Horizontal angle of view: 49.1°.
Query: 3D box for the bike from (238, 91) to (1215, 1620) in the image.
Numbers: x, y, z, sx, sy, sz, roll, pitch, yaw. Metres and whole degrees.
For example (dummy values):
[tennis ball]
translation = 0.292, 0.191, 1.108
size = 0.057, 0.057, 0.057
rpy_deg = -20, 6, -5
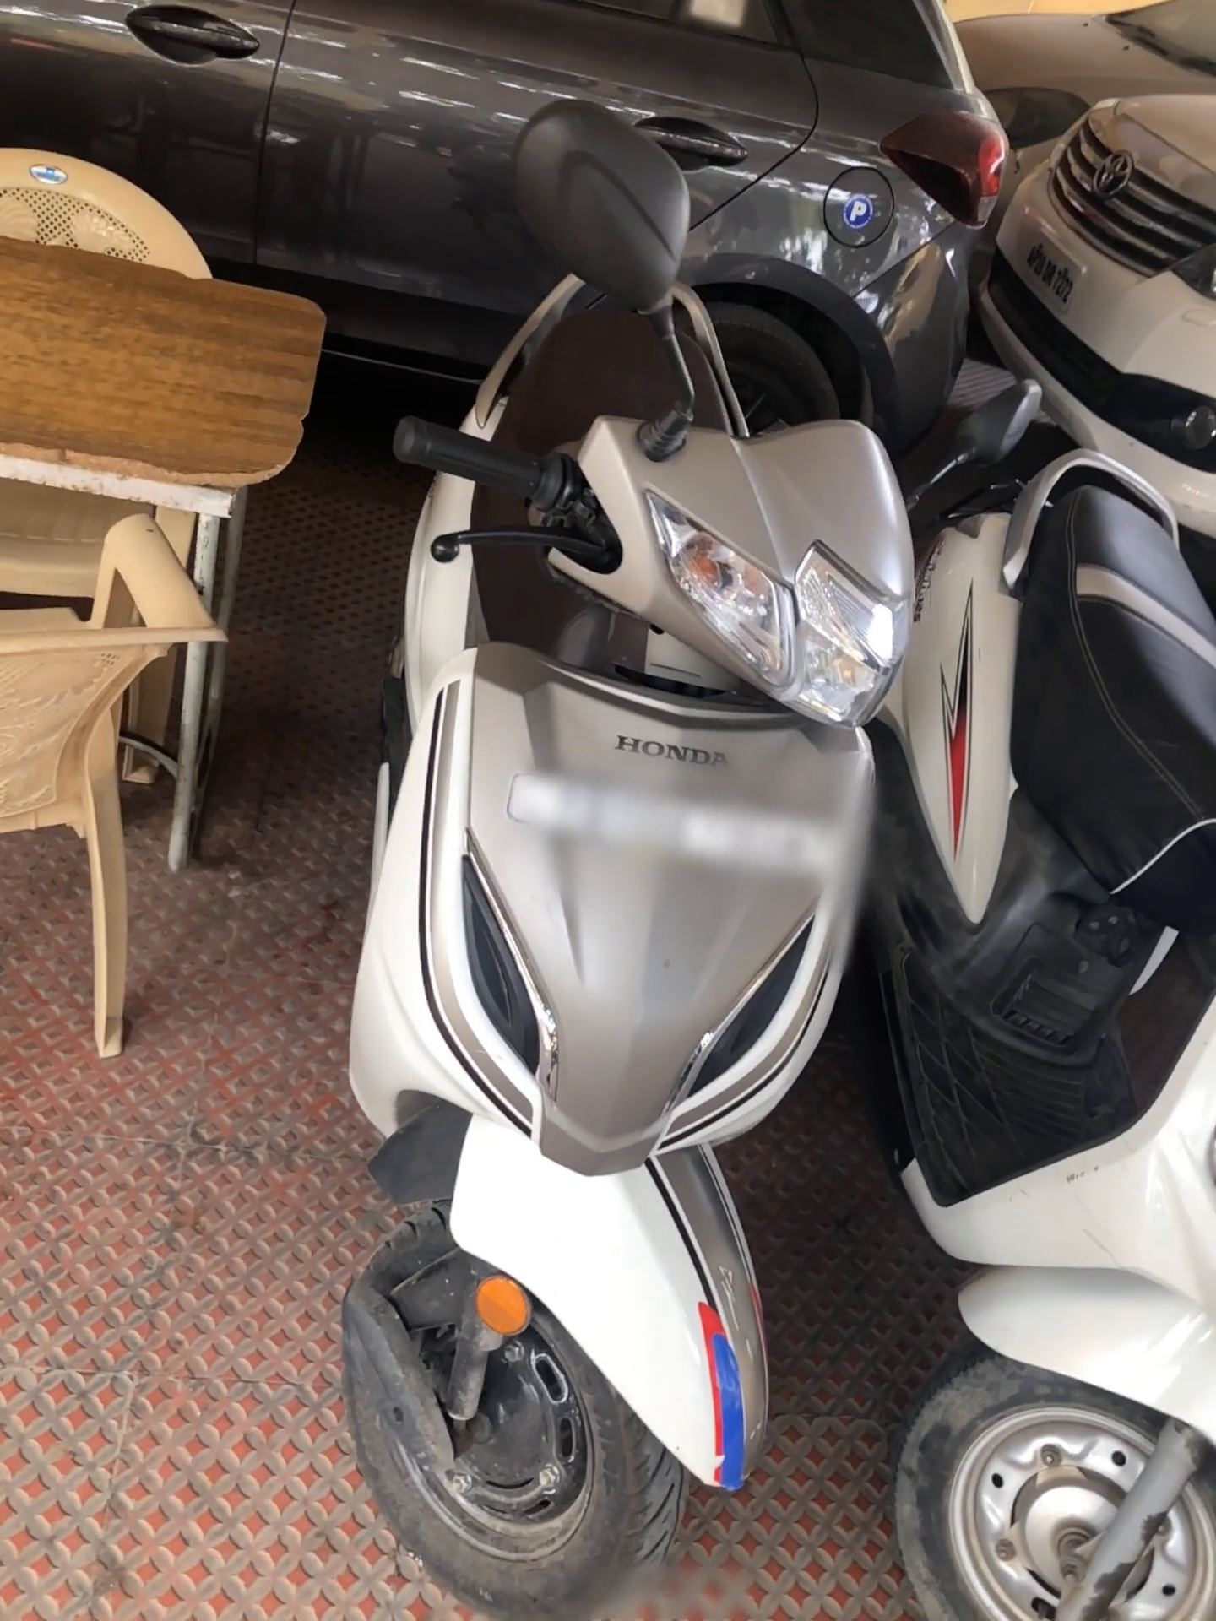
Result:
[bike]
translation = -0.008, -0.013, 1.576
size = 0.626, 0.850, 1.463
rpy_deg = 7, 45, -15
